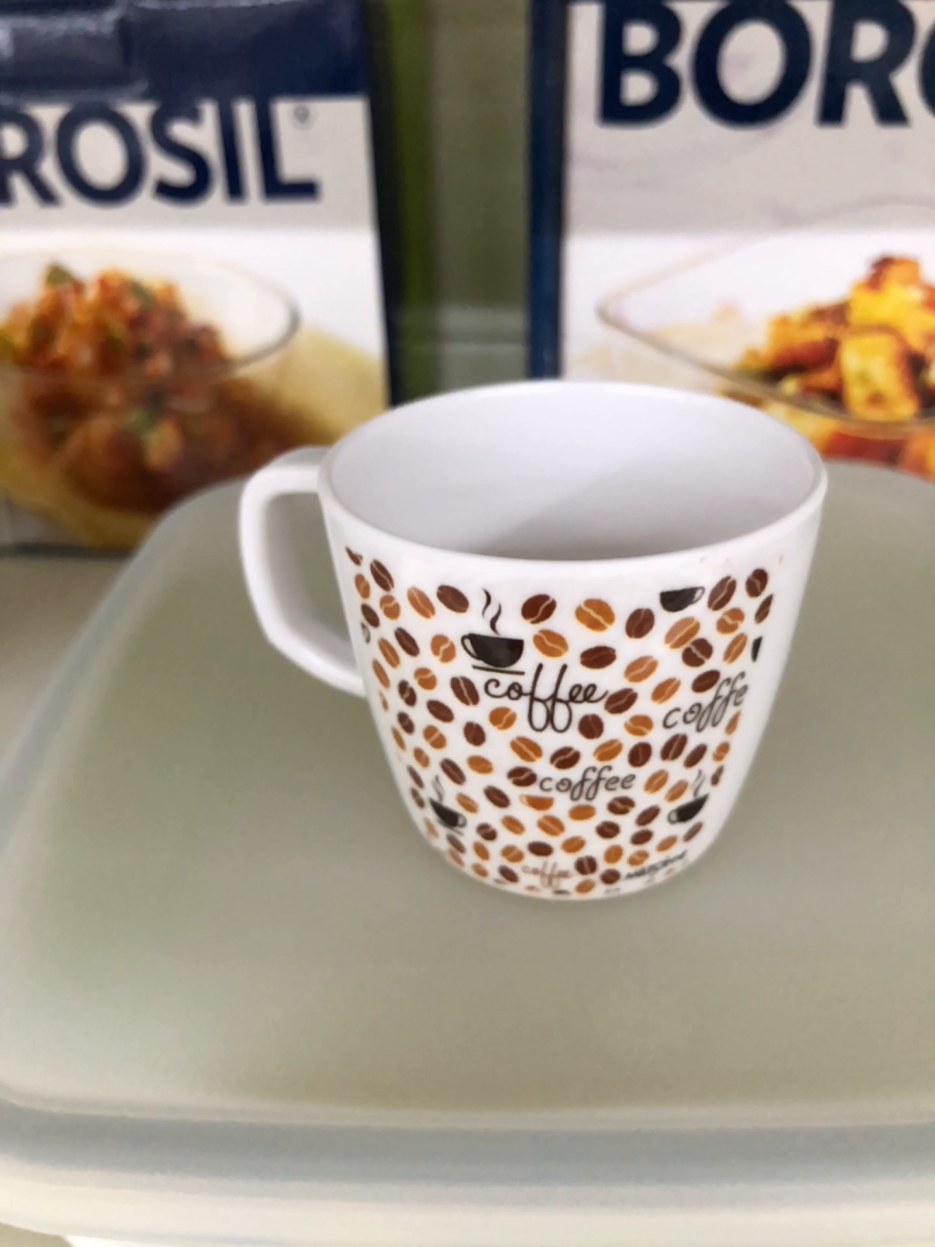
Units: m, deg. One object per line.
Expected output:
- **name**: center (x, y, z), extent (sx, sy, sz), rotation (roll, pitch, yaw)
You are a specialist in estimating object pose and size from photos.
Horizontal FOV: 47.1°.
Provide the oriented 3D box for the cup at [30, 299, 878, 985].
- **cup**: center (0.003, -0.006, 0.135), extent (0.080, 0.050, 0.060), rotation (11, 32, 20)
